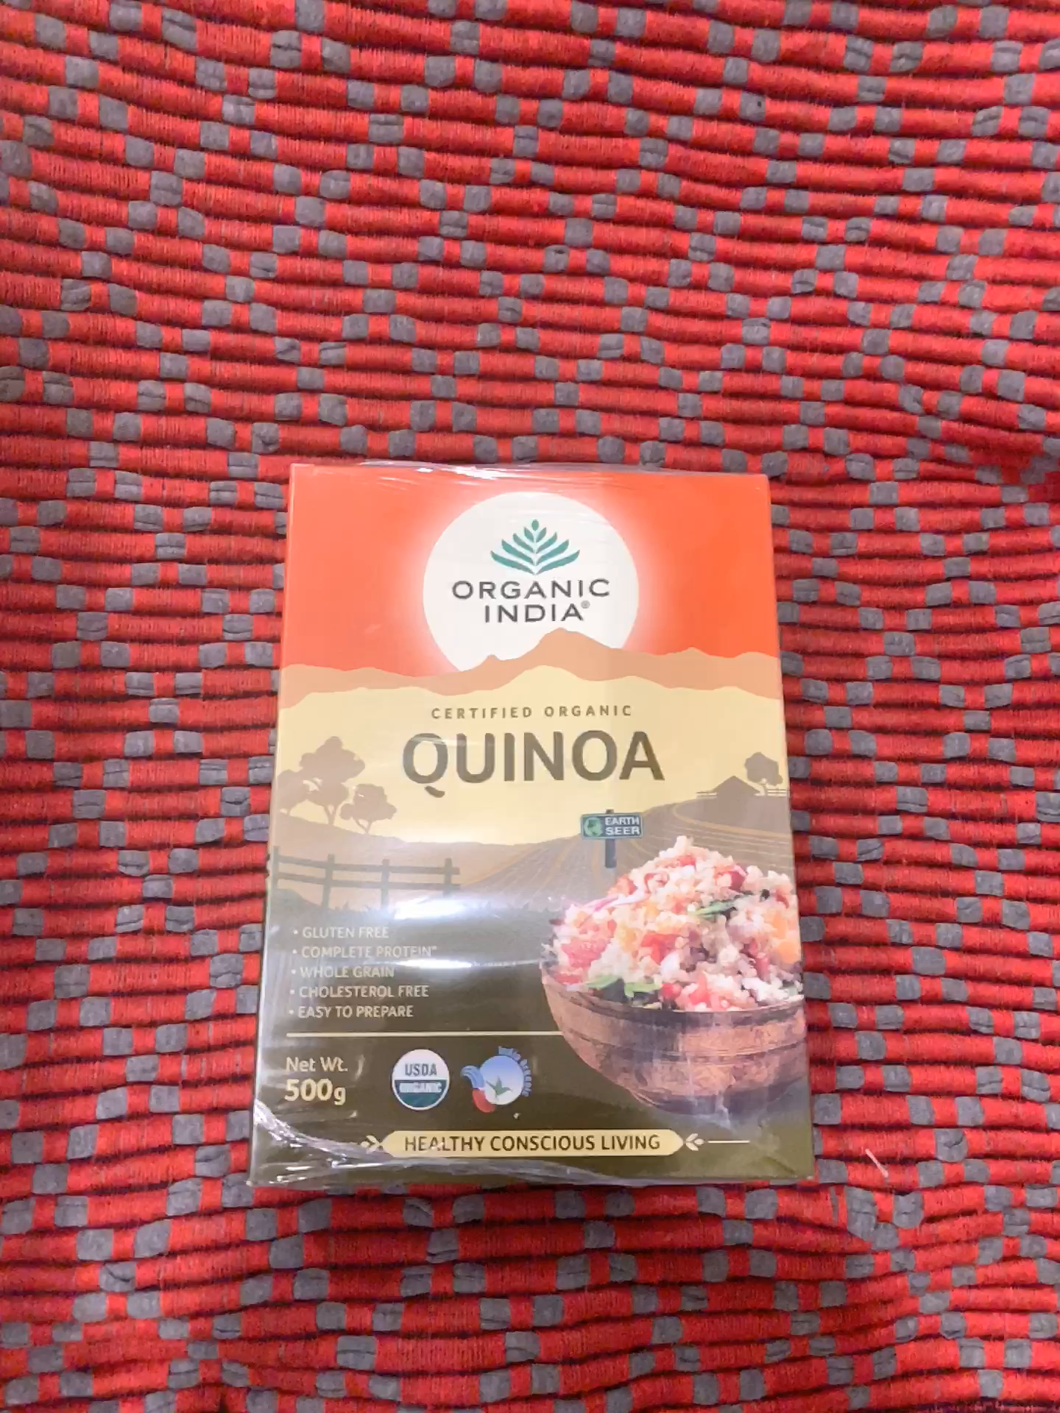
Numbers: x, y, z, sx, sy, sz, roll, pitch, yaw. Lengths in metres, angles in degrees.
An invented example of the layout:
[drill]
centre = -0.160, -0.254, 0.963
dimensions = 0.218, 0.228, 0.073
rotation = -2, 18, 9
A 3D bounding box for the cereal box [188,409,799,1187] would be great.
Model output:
[cereal box]
centre = -0.009, 0.023, 0.288
dimensions = 0.130, 0.070, 0.180
rotation = 1, 76, -3
